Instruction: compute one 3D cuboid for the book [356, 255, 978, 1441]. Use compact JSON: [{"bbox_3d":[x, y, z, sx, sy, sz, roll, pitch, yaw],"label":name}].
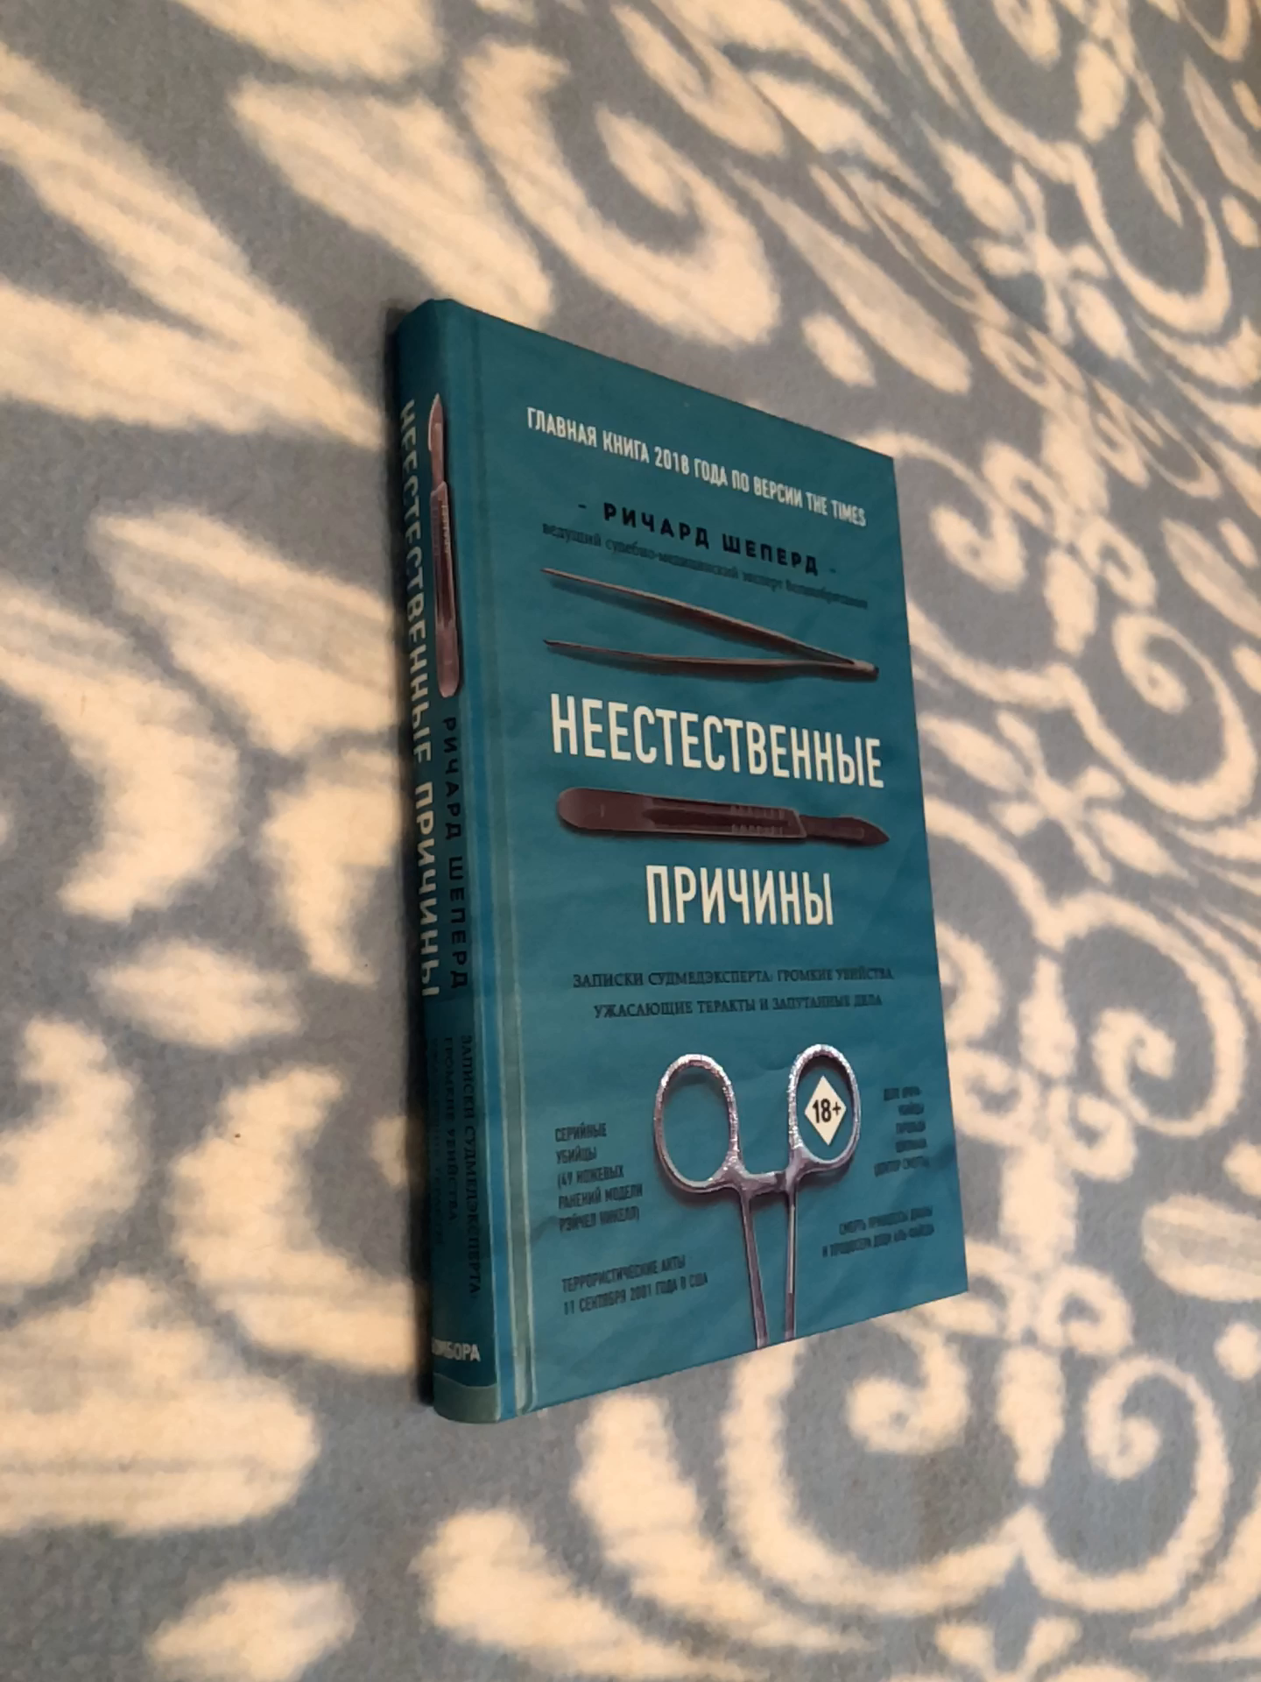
[{"bbox_3d":[0.014,0.000,0.313,0.149,0.025,0.218,4,79,-42],"label":"book"}]
